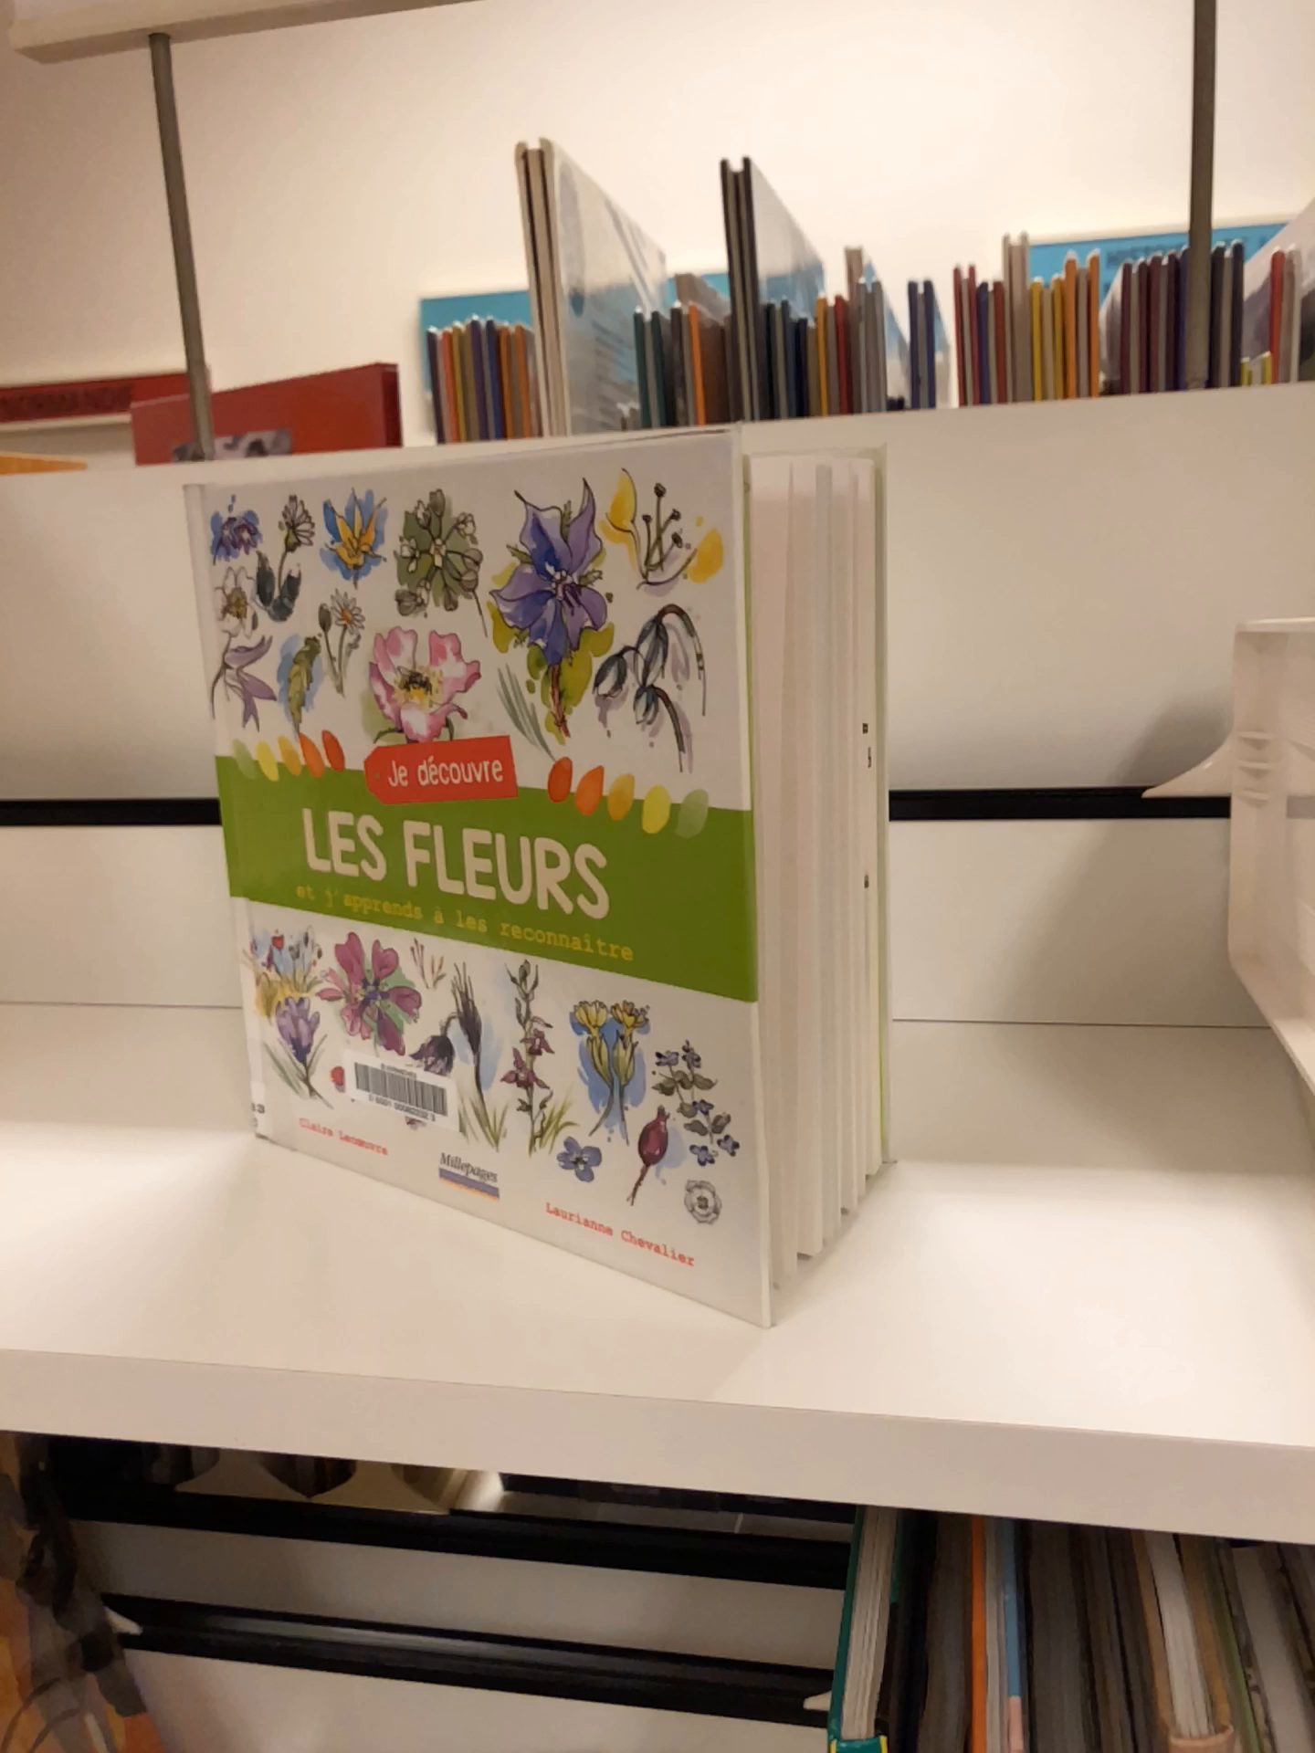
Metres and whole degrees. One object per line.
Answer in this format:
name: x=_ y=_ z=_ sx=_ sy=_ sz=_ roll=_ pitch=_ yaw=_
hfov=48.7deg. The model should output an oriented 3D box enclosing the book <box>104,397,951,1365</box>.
book: x=-0.035 y=-0.010 z=0.414 sx=0.208 sy=0.215 sz=0.104 roll=5 pitch=13 yaw=32
